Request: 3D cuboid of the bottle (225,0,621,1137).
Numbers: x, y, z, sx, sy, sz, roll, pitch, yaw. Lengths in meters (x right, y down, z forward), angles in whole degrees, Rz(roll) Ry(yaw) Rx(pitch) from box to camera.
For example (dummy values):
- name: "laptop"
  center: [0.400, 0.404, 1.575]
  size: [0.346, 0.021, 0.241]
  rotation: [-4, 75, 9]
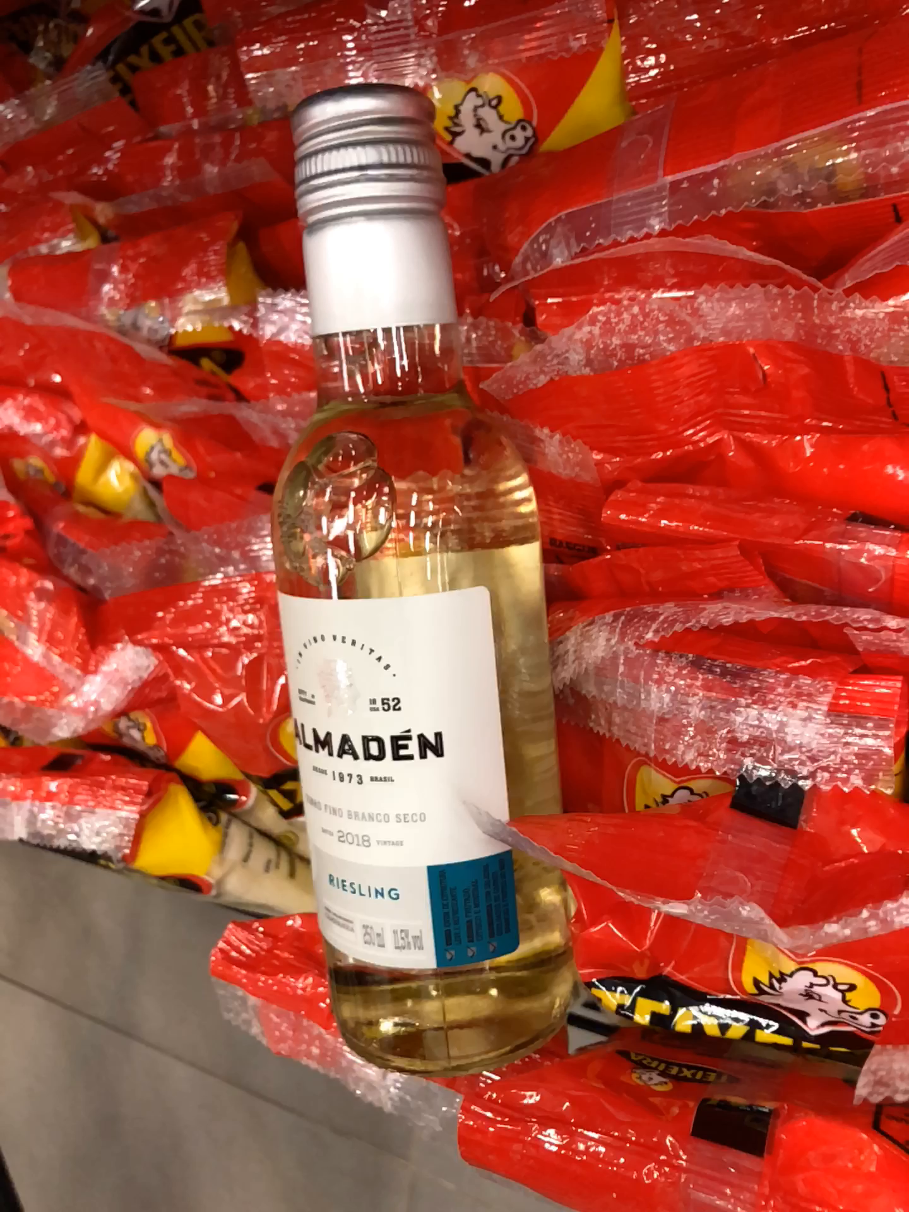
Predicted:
- name: "bottle"
  center: [-0.004, -0.008, 0.211]
  size: [0.060, 0.040, 0.210]
  rotation: [4, 101, 35]
